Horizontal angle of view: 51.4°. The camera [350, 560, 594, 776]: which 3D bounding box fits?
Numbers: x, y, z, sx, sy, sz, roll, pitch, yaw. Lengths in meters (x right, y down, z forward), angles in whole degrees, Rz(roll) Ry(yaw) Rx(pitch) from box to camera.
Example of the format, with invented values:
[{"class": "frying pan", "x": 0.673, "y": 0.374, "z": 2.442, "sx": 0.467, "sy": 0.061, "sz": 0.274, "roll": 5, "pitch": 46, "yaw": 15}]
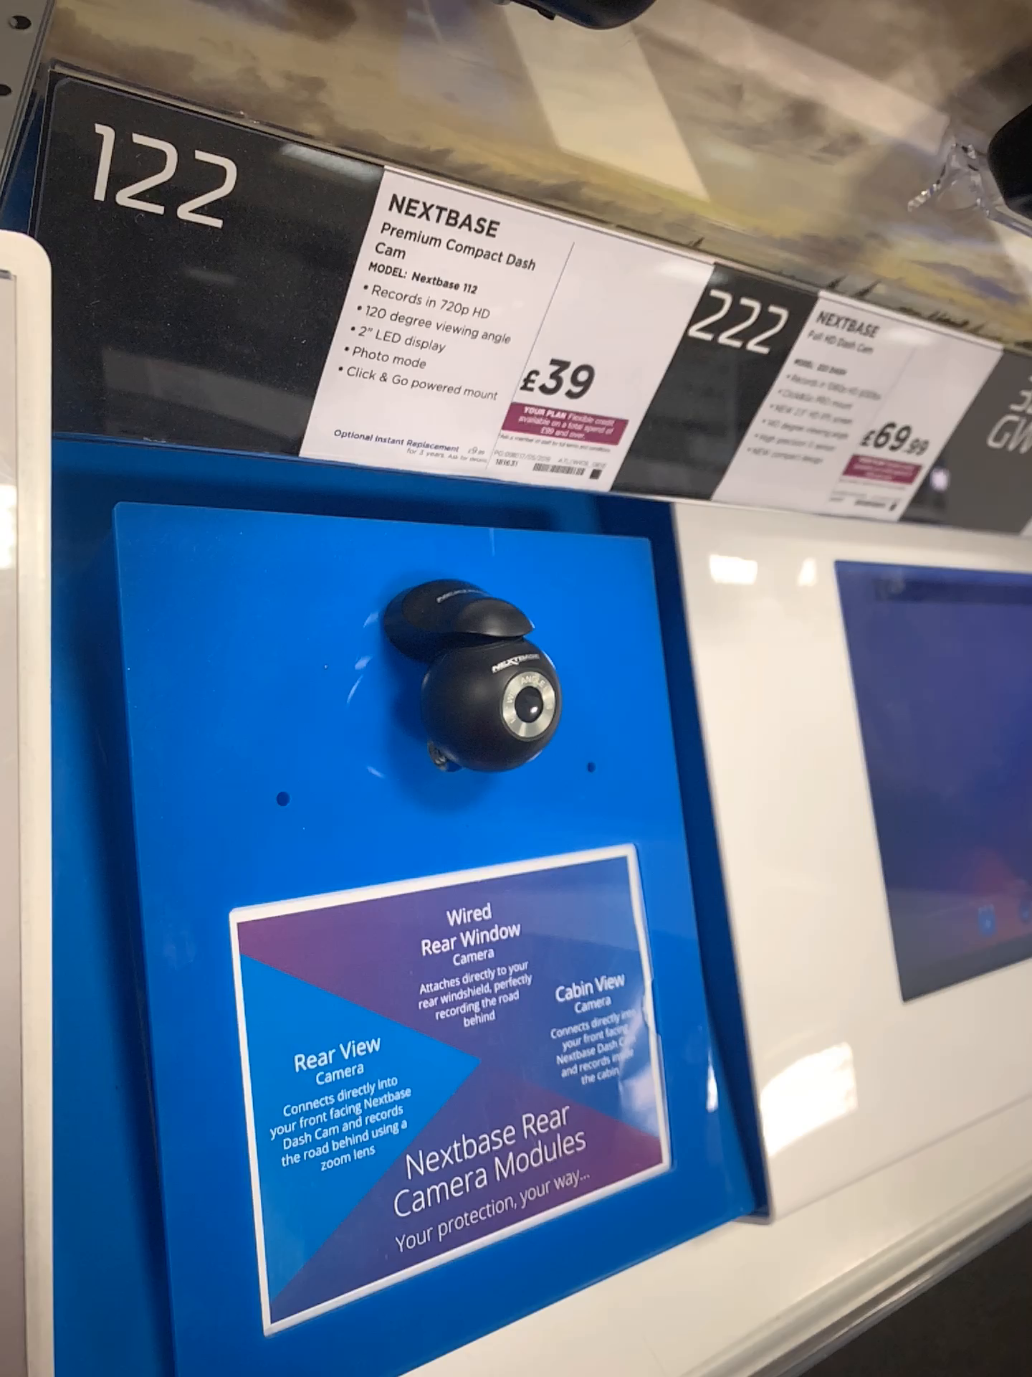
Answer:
[{"class": "camera", "x": -0.012, "y": -0.005, "z": 0.280, "sx": 0.040, "sy": 0.050, "sz": 0.050, "roll": -3, "pitch": 90, "yaw": -36}]
